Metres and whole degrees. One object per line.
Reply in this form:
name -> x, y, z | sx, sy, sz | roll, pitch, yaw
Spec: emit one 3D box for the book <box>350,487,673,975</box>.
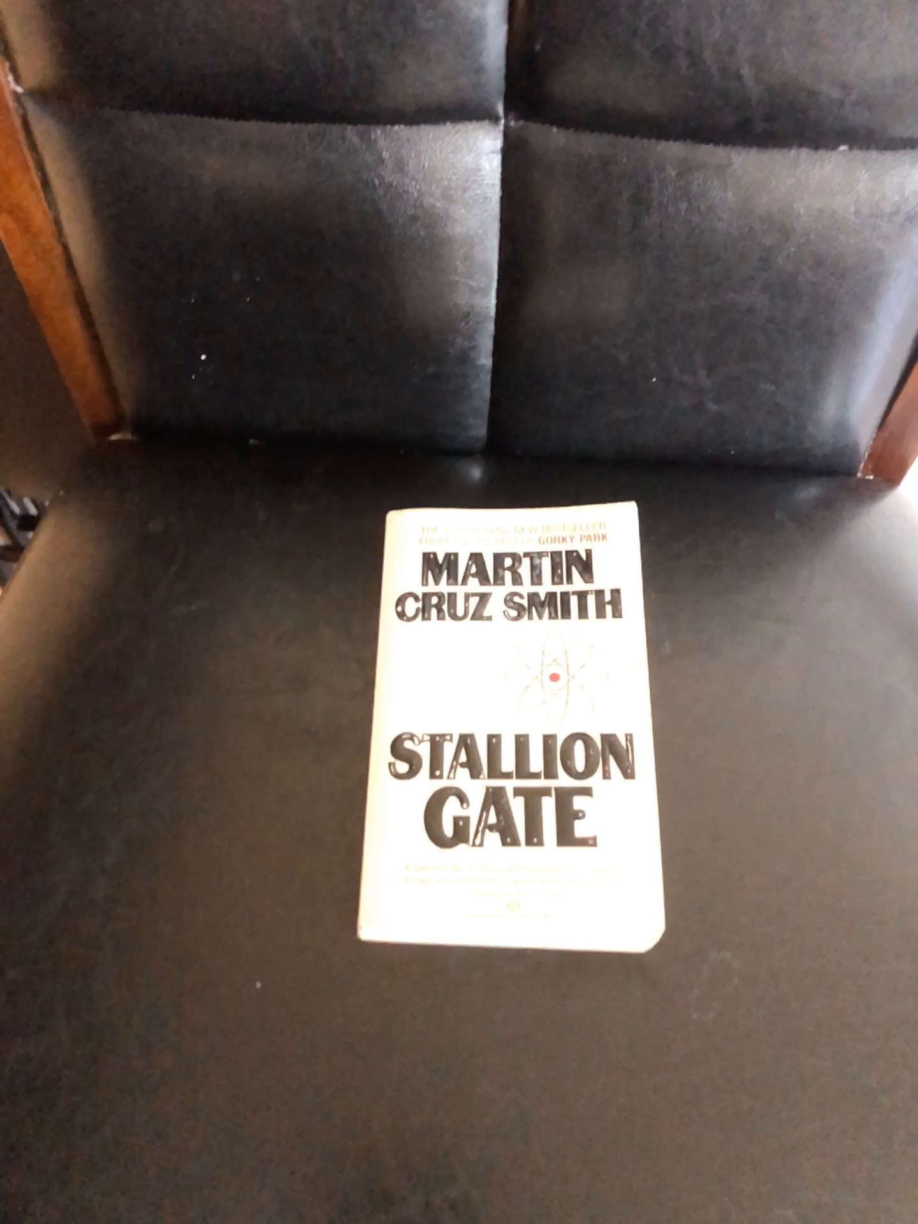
book -> 0.021, 0.040, 0.401 | 0.110, 0.030, 0.190 | 2, 63, 1
